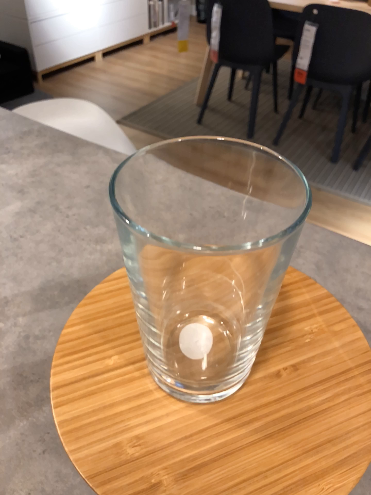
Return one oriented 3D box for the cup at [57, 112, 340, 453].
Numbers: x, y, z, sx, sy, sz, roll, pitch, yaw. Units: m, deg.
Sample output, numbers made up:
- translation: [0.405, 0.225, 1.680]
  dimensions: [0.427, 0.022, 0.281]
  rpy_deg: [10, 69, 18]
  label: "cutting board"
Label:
- translation: [0.011, 0.018, 0.238]
  dimensions: [0.100, 0.139, 0.100]
  rpy_deg: [2, 41, -1]
  label: "cup"
